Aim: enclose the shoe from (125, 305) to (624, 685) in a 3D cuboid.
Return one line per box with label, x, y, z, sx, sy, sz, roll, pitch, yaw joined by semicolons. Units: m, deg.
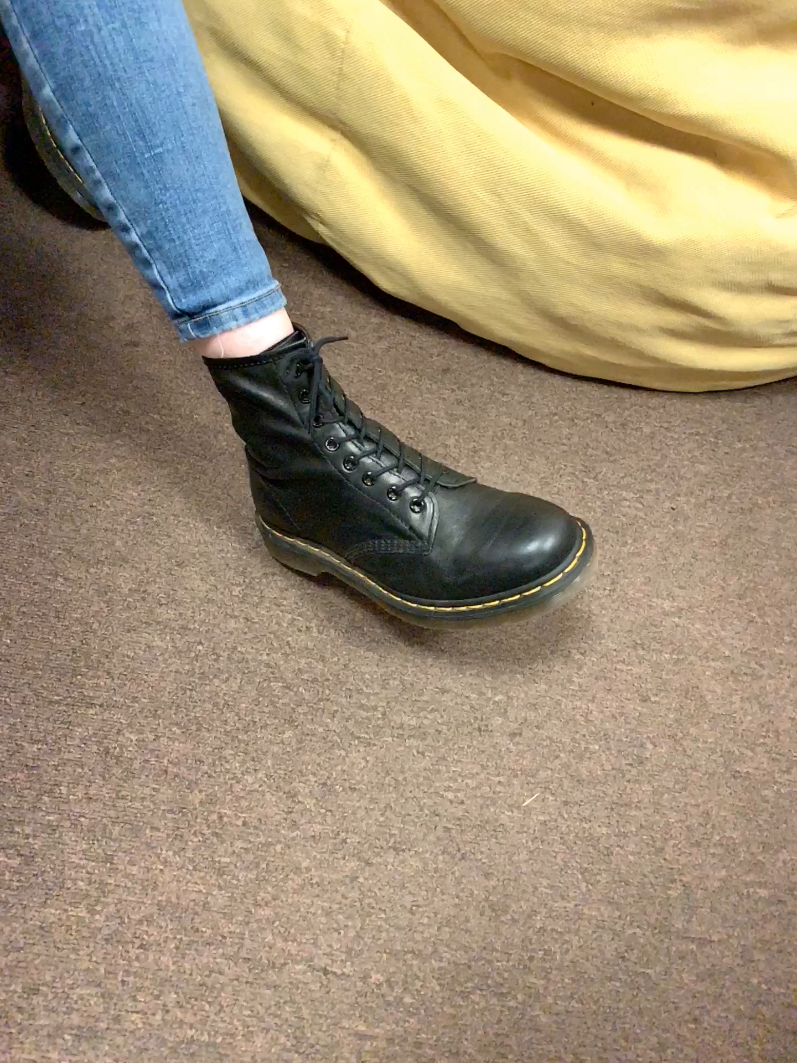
shoe;-0.018;-0.040;0.538;0.290;0.150;0.120;18;51;36
